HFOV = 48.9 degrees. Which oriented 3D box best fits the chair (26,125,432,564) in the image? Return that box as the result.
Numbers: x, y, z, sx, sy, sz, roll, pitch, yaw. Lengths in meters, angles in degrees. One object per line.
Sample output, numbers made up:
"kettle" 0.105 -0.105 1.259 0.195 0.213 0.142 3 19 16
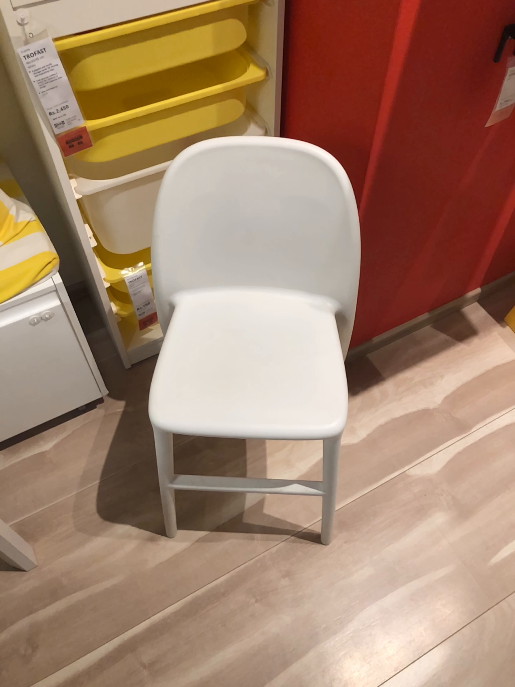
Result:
"chair" -0.025 0.068 1.007 0.420 0.706 0.462 2 58 1
